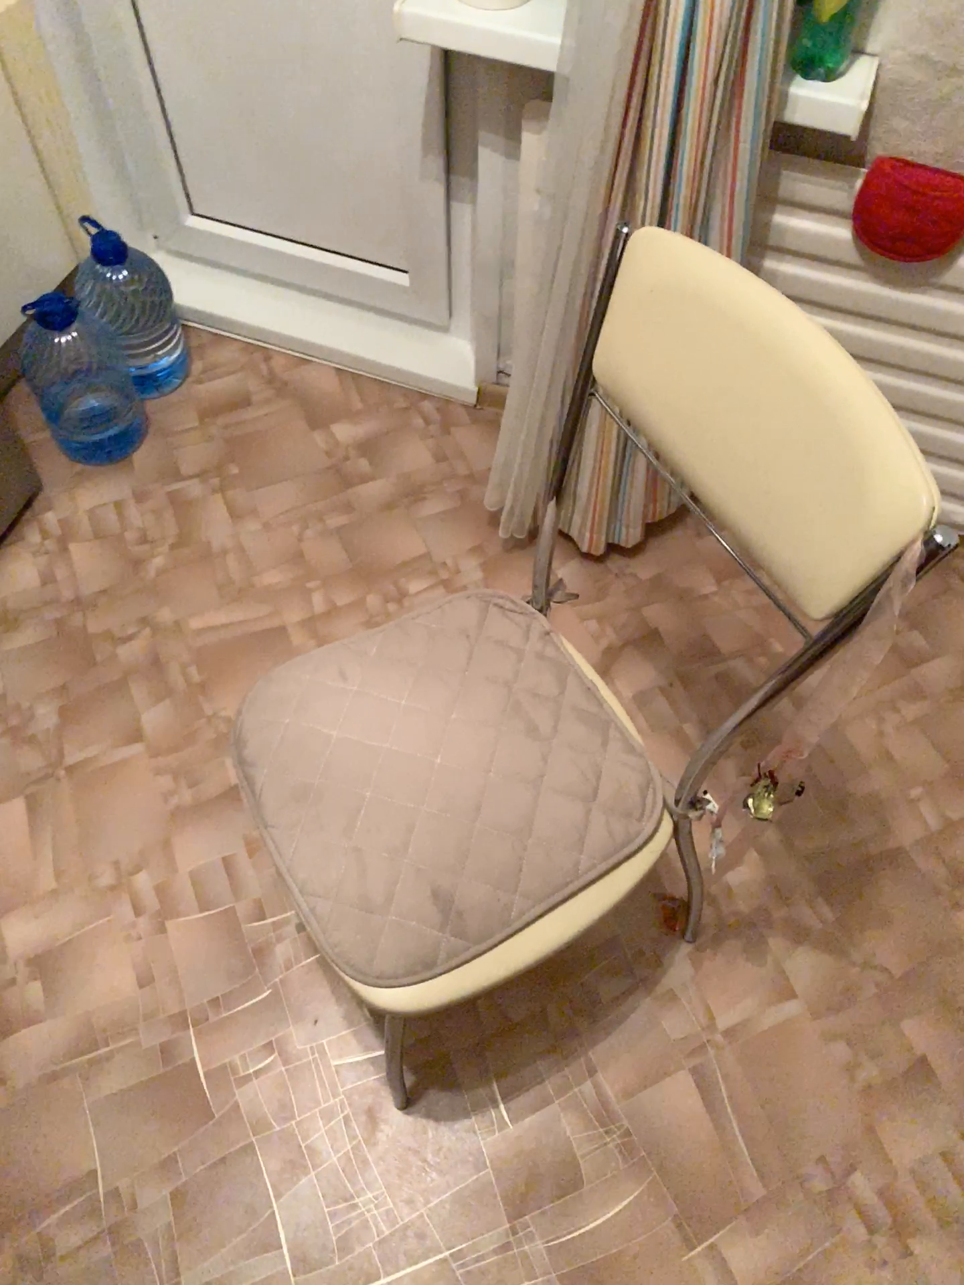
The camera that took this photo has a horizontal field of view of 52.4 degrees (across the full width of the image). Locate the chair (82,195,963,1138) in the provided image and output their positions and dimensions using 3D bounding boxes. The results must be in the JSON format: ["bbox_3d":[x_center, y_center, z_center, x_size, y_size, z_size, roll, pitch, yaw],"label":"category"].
[{"bbox_3d":[0.039,0.119,0.970,0.491,0.854,0.386,-24,61,-16],"label":"chair"}]
